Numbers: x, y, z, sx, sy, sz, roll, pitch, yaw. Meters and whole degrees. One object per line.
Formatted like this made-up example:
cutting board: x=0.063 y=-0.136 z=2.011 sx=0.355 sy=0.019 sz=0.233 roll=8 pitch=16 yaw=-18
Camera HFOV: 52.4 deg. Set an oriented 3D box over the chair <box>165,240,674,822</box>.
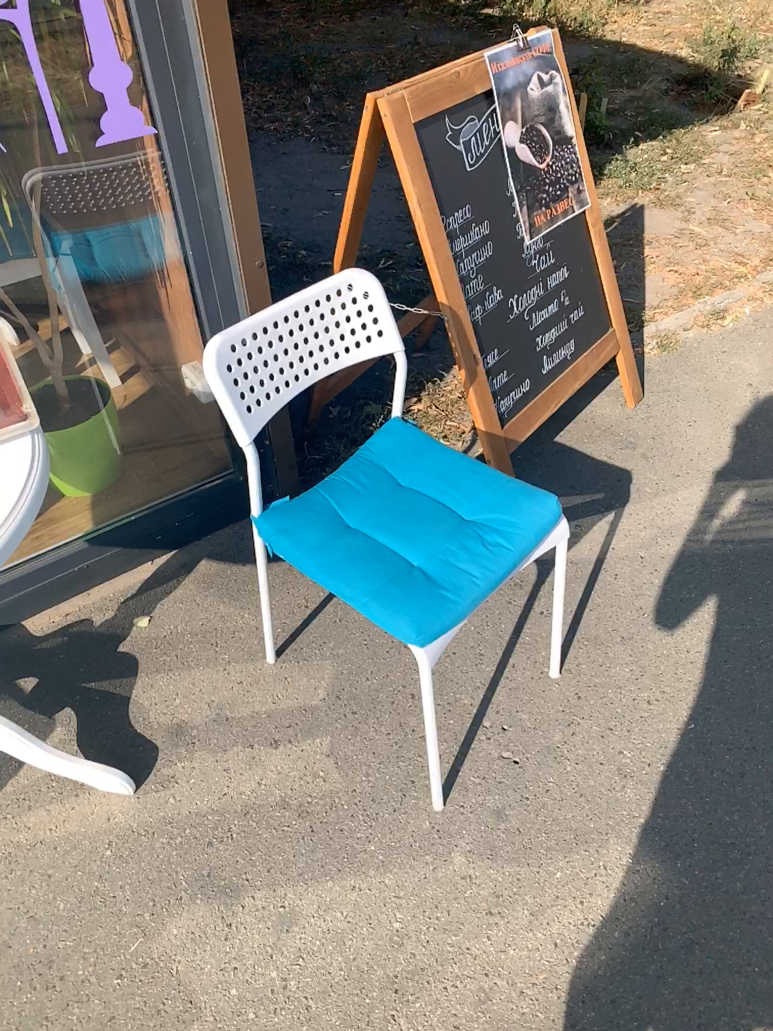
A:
chair: x=0.059 y=0.013 z=1.350 sx=0.541 sy=0.697 sz=0.481 roll=29 pitch=51 yaw=31
